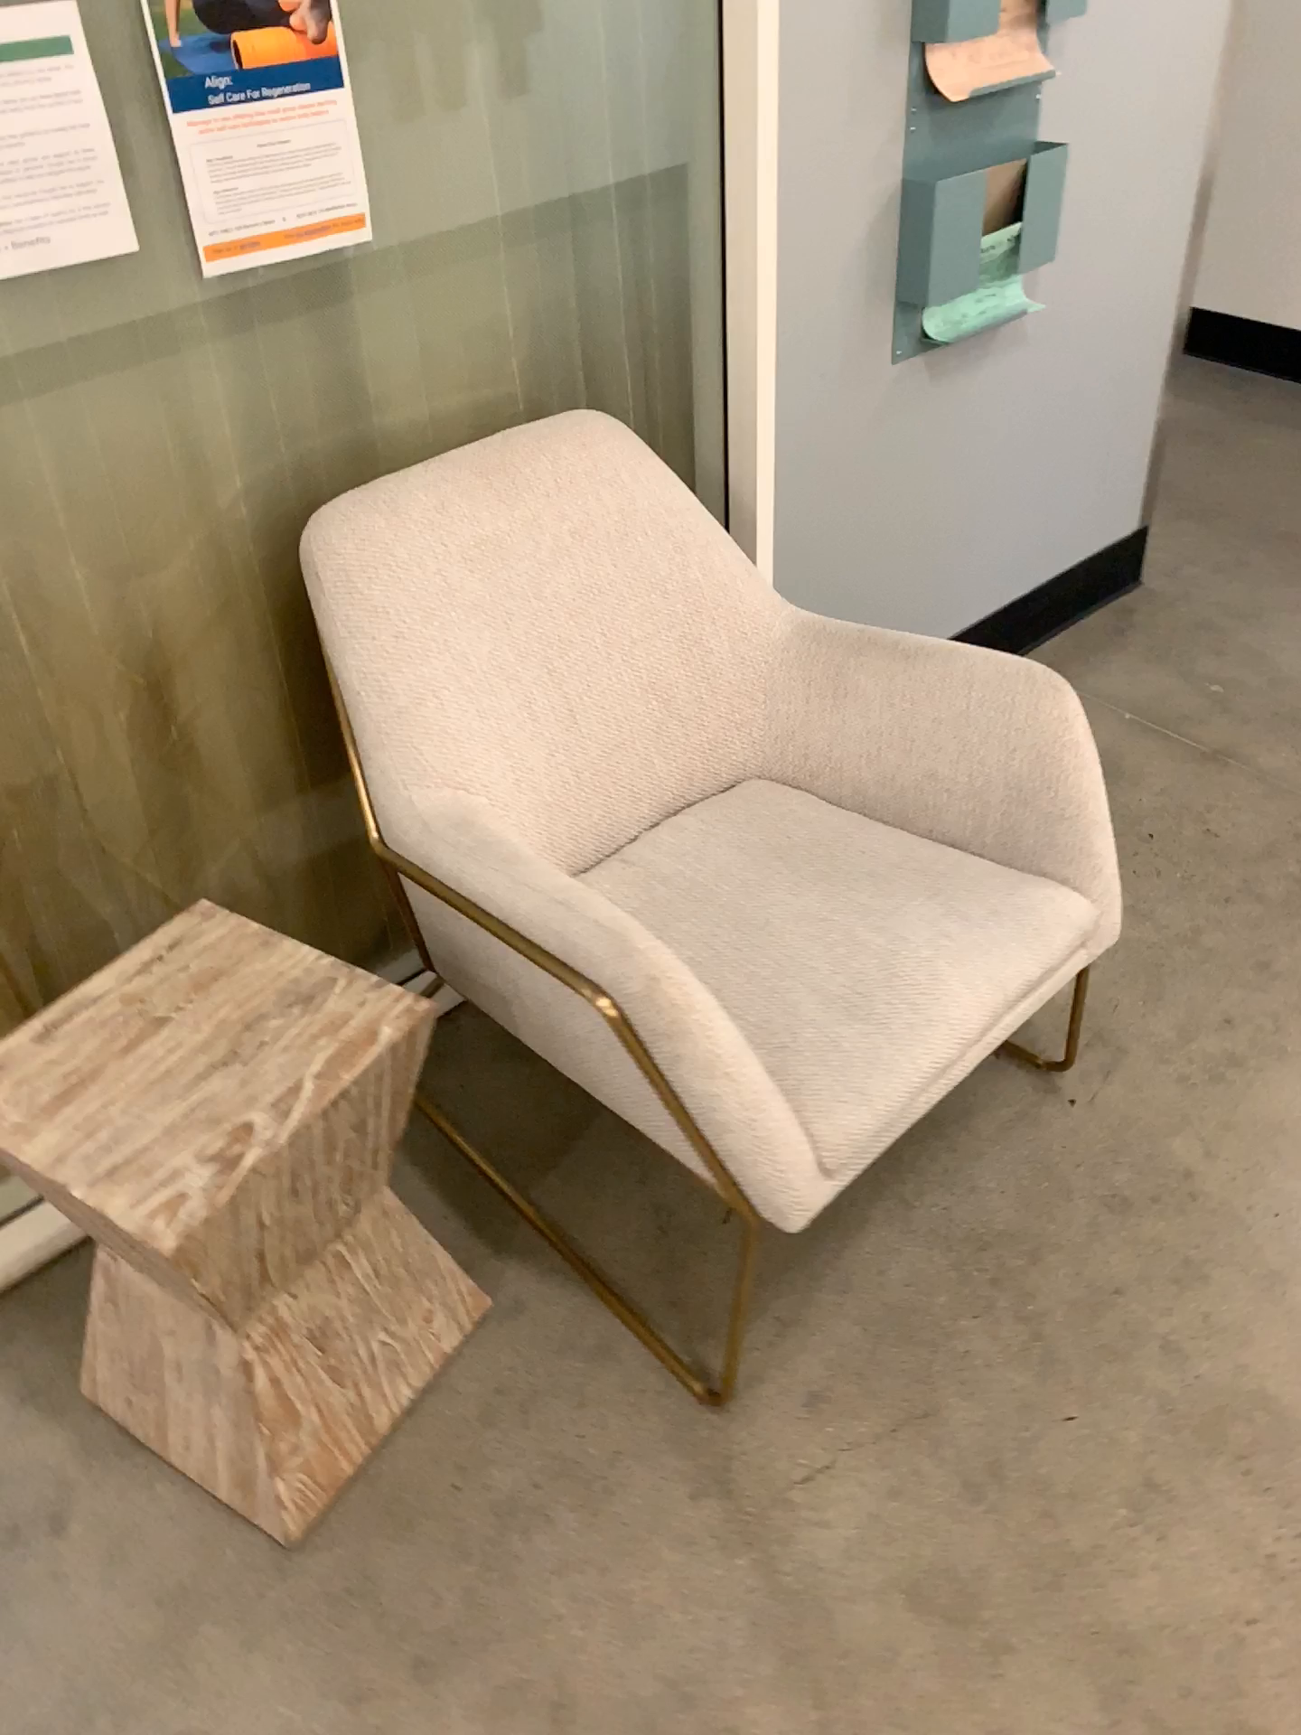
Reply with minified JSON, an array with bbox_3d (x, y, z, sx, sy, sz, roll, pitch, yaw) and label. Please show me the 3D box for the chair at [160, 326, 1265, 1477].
[{"bbox_3d":[0.079,-0.038,1.574,0.773,0.864,0.781,28,47,35],"label":"chair"}]
